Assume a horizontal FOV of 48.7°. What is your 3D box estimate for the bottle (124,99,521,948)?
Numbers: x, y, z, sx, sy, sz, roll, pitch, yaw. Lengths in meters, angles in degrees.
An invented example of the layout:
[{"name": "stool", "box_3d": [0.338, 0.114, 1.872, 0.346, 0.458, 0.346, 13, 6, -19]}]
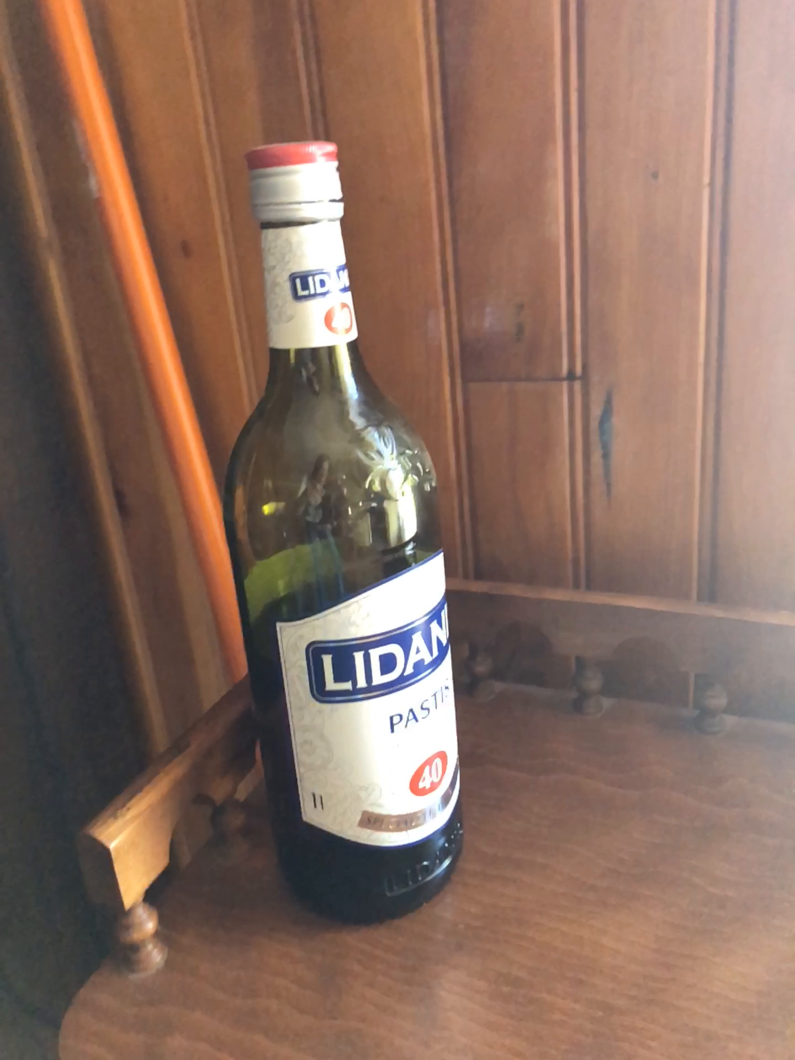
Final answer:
[{"name": "bottle", "box_3d": [-0.016, 0.001, 0.343, 0.080, 0.299, 0.090, 14, 29, 41]}]
